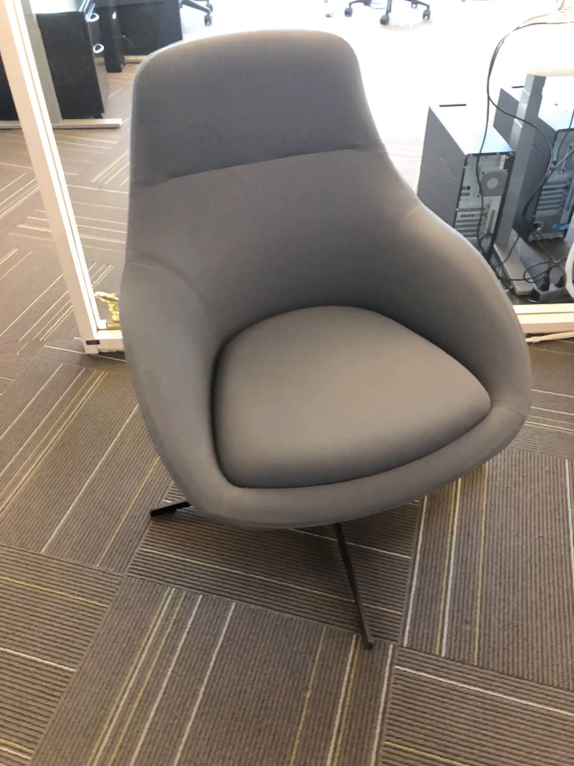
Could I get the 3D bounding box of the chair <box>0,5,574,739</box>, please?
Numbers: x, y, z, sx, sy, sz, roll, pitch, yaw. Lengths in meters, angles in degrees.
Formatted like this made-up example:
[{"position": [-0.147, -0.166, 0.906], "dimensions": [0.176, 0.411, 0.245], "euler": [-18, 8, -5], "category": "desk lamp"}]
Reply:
[{"position": [0.028, -0.093, 1.347], "dimensions": [0.930, 0.995, 0.965], "euler": [-13, 43, -14], "category": "chair"}]
